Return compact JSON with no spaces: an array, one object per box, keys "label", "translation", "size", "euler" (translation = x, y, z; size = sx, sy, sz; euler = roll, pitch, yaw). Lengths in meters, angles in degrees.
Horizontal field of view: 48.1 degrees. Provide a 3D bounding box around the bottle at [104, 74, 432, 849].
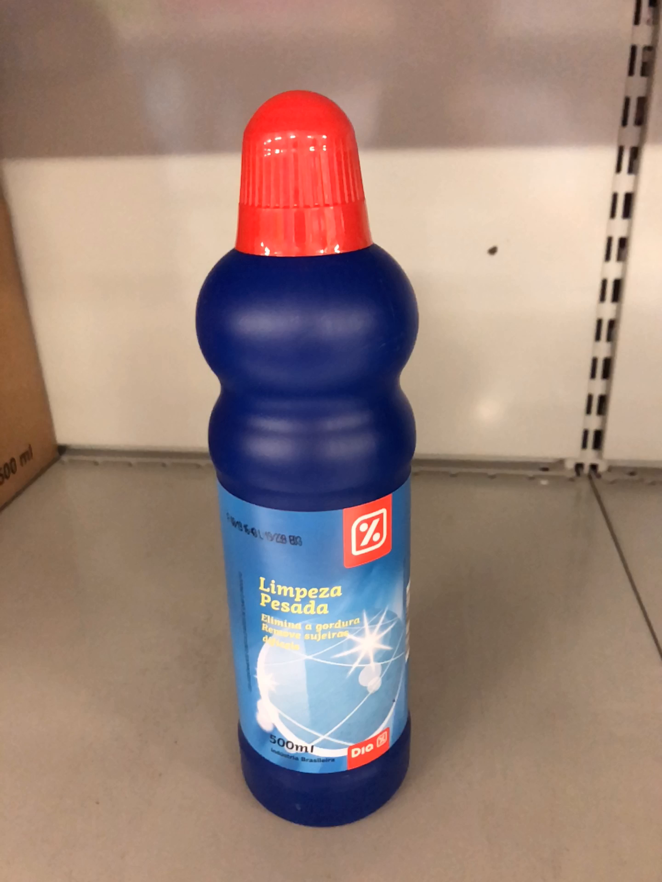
[{"label":"bottle","translation":[-0.008,0.017,0.239],"size":[0.070,0.238,0.070],"euler":[-2,25,1]}]
